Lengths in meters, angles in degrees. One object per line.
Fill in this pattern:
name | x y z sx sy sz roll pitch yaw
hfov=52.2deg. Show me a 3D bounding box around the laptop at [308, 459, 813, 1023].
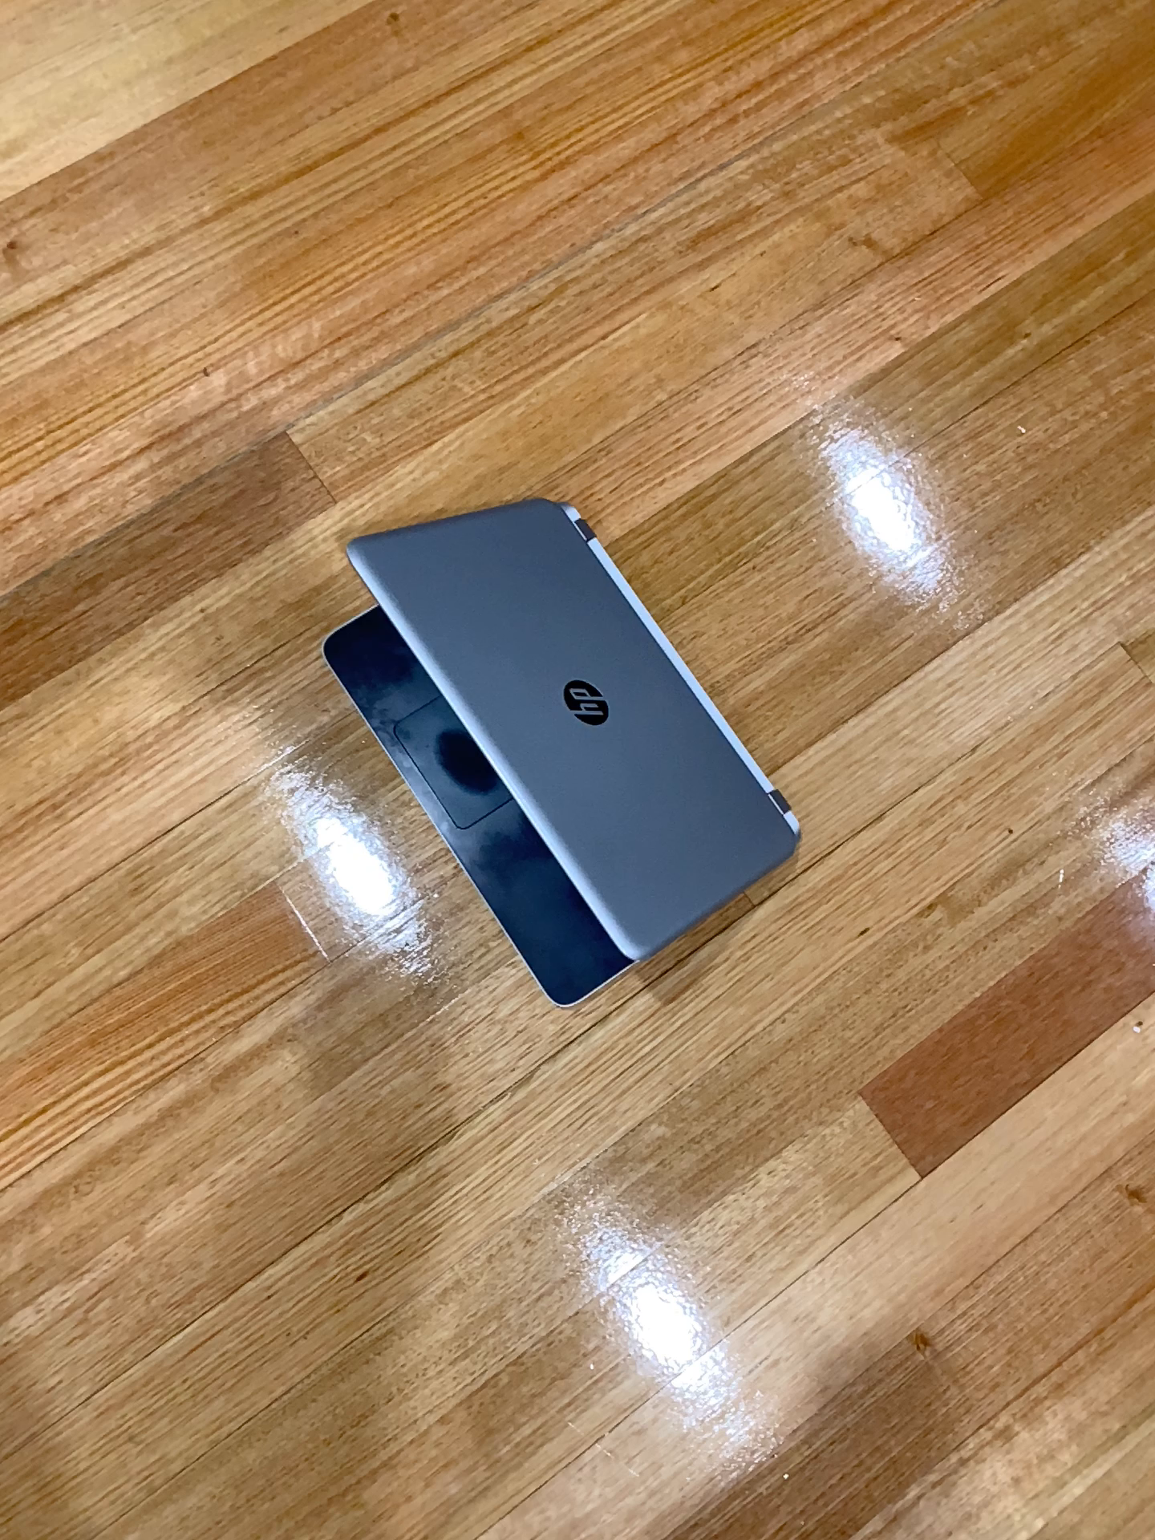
laptop | -0.015 -0.021 0.865 0.209 0.103 0.332 -33 81 -11
